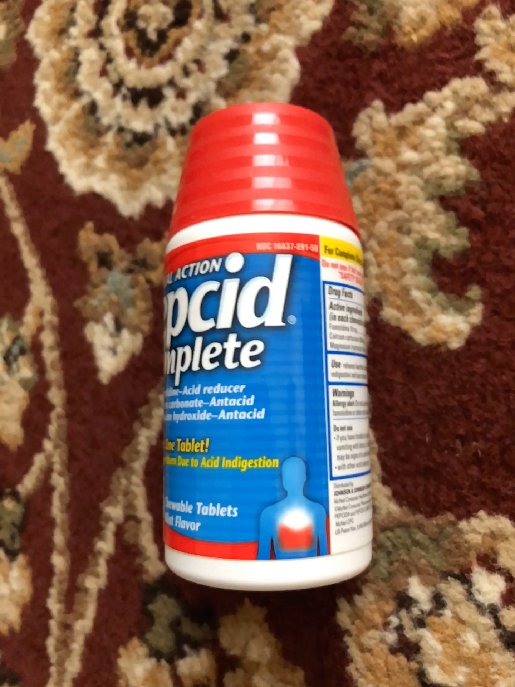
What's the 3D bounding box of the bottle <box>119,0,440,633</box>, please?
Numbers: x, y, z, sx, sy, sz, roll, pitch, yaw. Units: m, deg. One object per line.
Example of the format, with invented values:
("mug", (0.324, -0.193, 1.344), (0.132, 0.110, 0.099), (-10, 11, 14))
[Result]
("bottle", (0.005, -0.005, 0.161), (0.060, 0.060, 0.130), (-6, 81, 53))
